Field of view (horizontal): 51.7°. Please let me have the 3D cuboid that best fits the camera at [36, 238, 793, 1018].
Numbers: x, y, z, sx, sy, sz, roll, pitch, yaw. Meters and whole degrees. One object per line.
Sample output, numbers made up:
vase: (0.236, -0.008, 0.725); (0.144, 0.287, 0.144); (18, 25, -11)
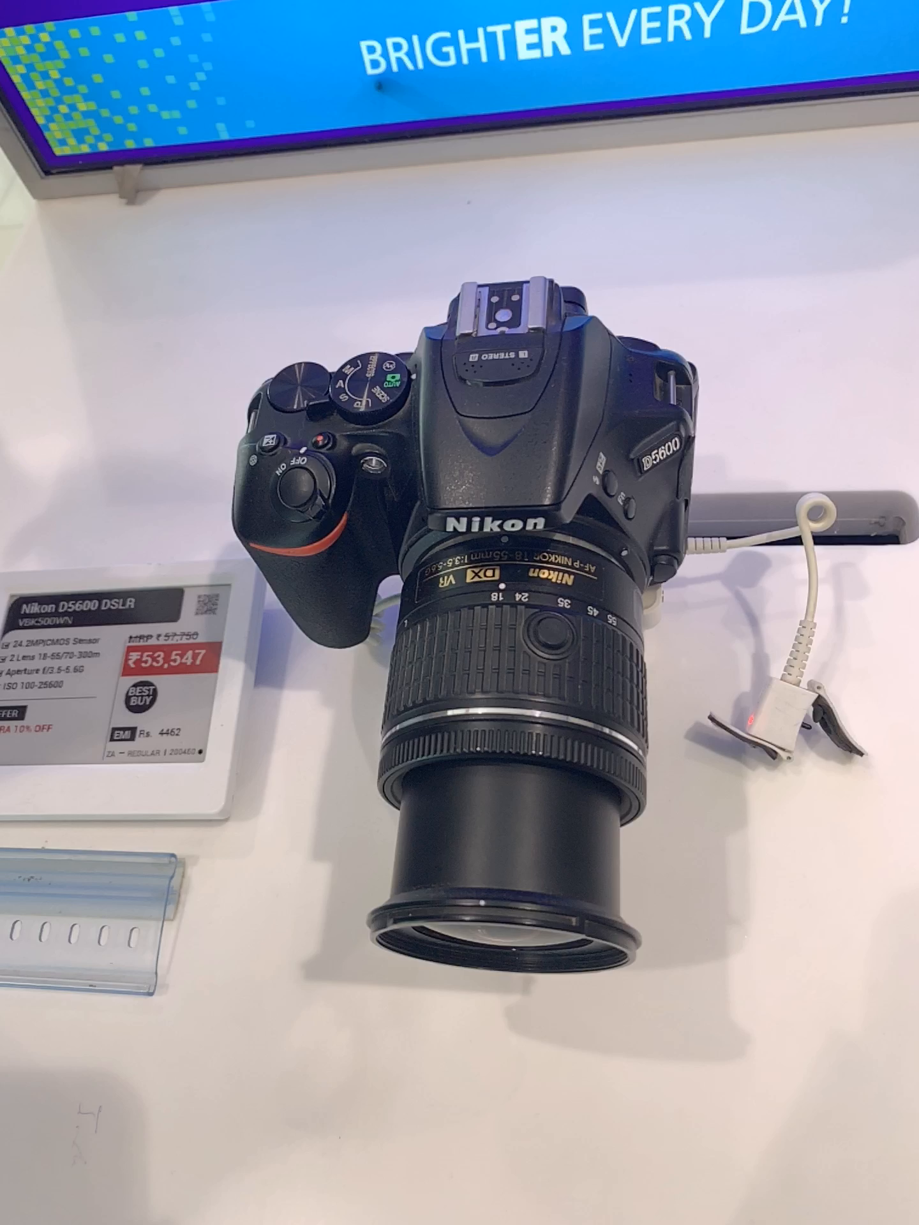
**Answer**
camera: (0.001, 0.009, 0.220); (0.116, 0.100, 0.141); (-3, 59, 10)
